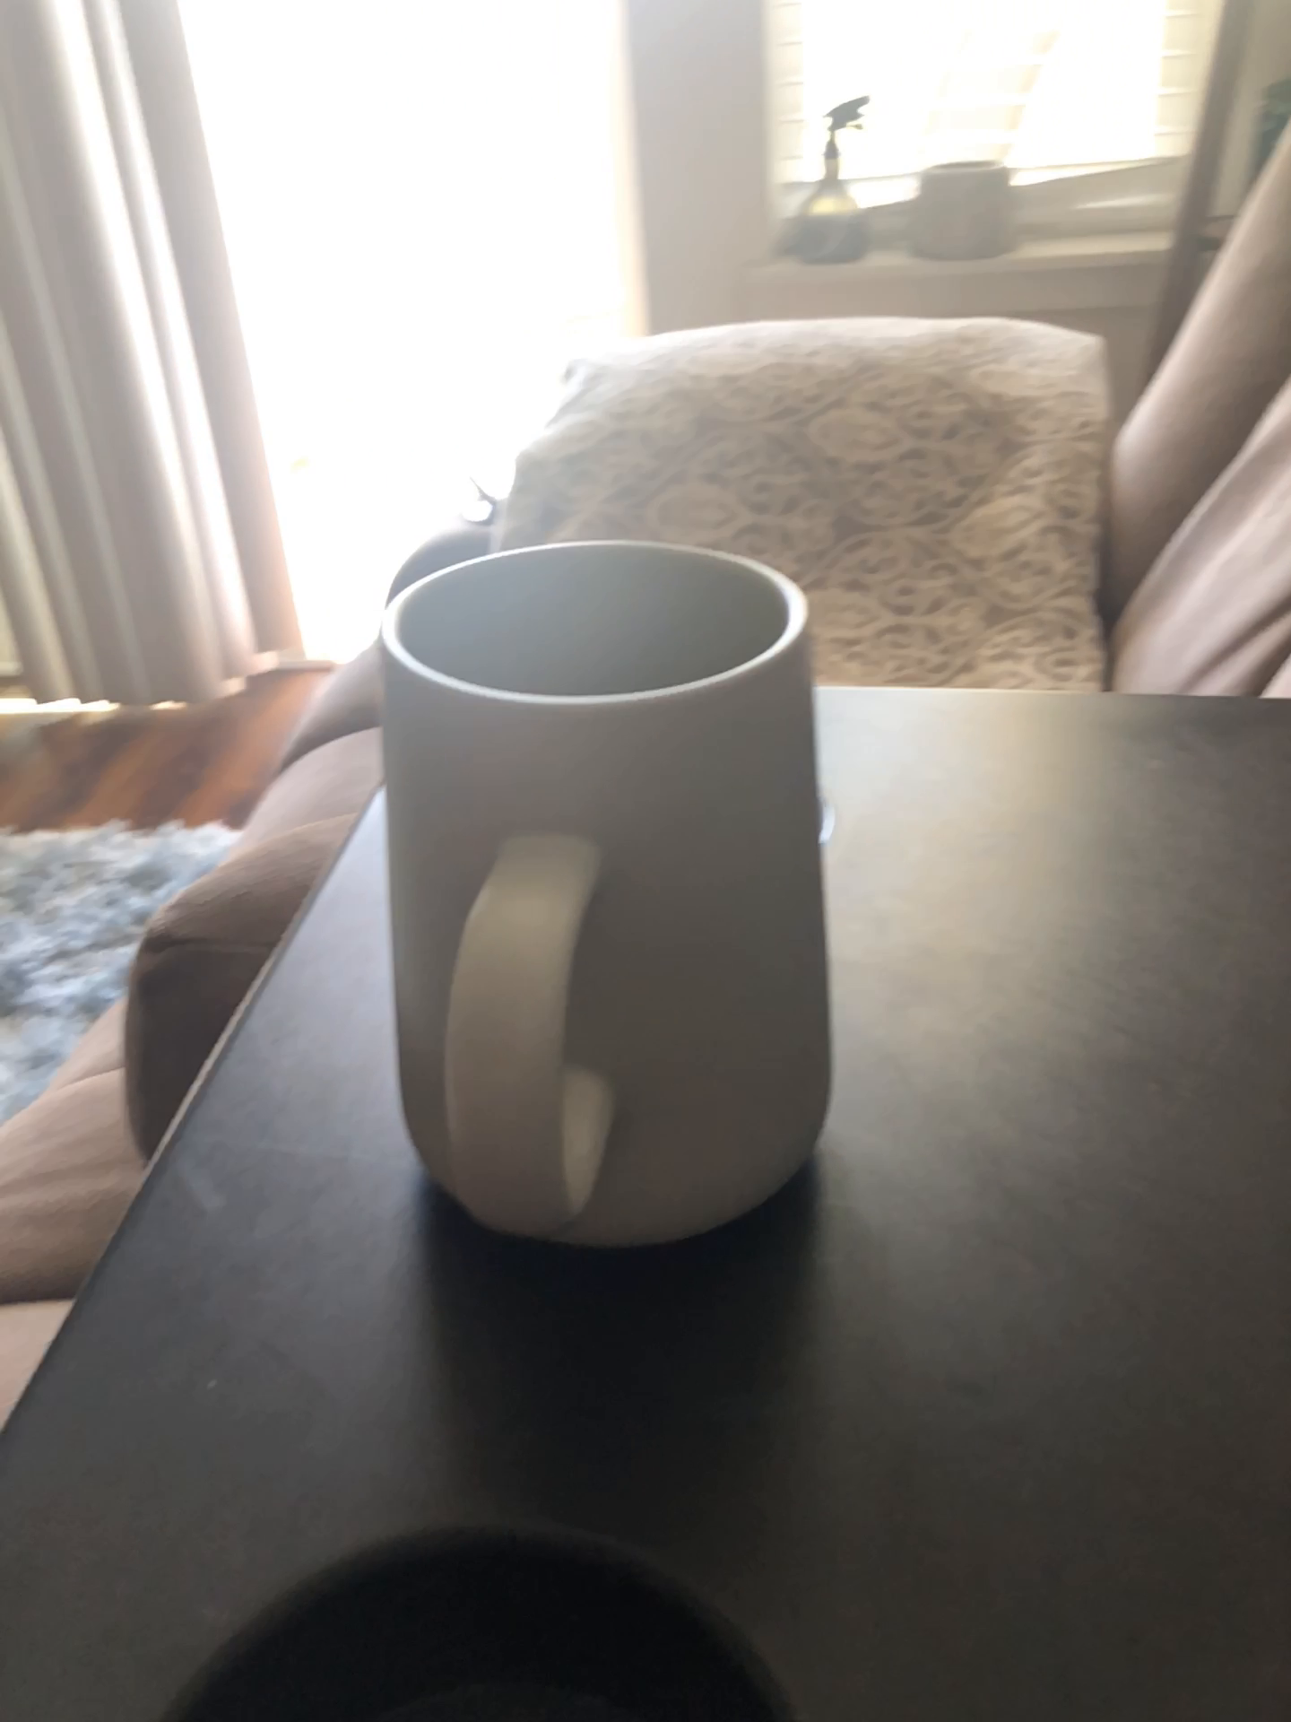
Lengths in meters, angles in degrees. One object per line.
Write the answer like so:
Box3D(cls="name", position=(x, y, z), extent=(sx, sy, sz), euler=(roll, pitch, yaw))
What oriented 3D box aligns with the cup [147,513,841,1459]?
Box3D(cls="cup", position=(-0.010, 0.013, 0.278), extent=(0.086, 0.121, 0.137), euler=(2, 30, 11))
